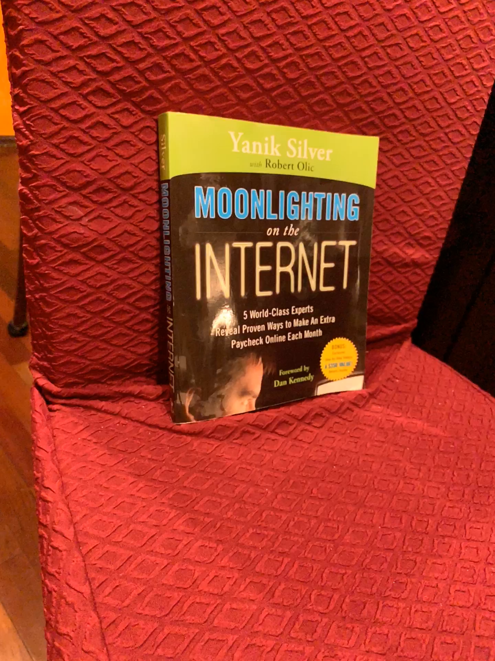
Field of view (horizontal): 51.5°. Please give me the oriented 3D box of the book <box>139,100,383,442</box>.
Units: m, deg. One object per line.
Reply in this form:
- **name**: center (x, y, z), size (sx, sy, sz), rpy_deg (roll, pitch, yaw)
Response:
- **book**: center (0.018, -0.048, 0.426), size (0.200, 0.239, 0.040), rpy_deg (-7, 14, -29)
